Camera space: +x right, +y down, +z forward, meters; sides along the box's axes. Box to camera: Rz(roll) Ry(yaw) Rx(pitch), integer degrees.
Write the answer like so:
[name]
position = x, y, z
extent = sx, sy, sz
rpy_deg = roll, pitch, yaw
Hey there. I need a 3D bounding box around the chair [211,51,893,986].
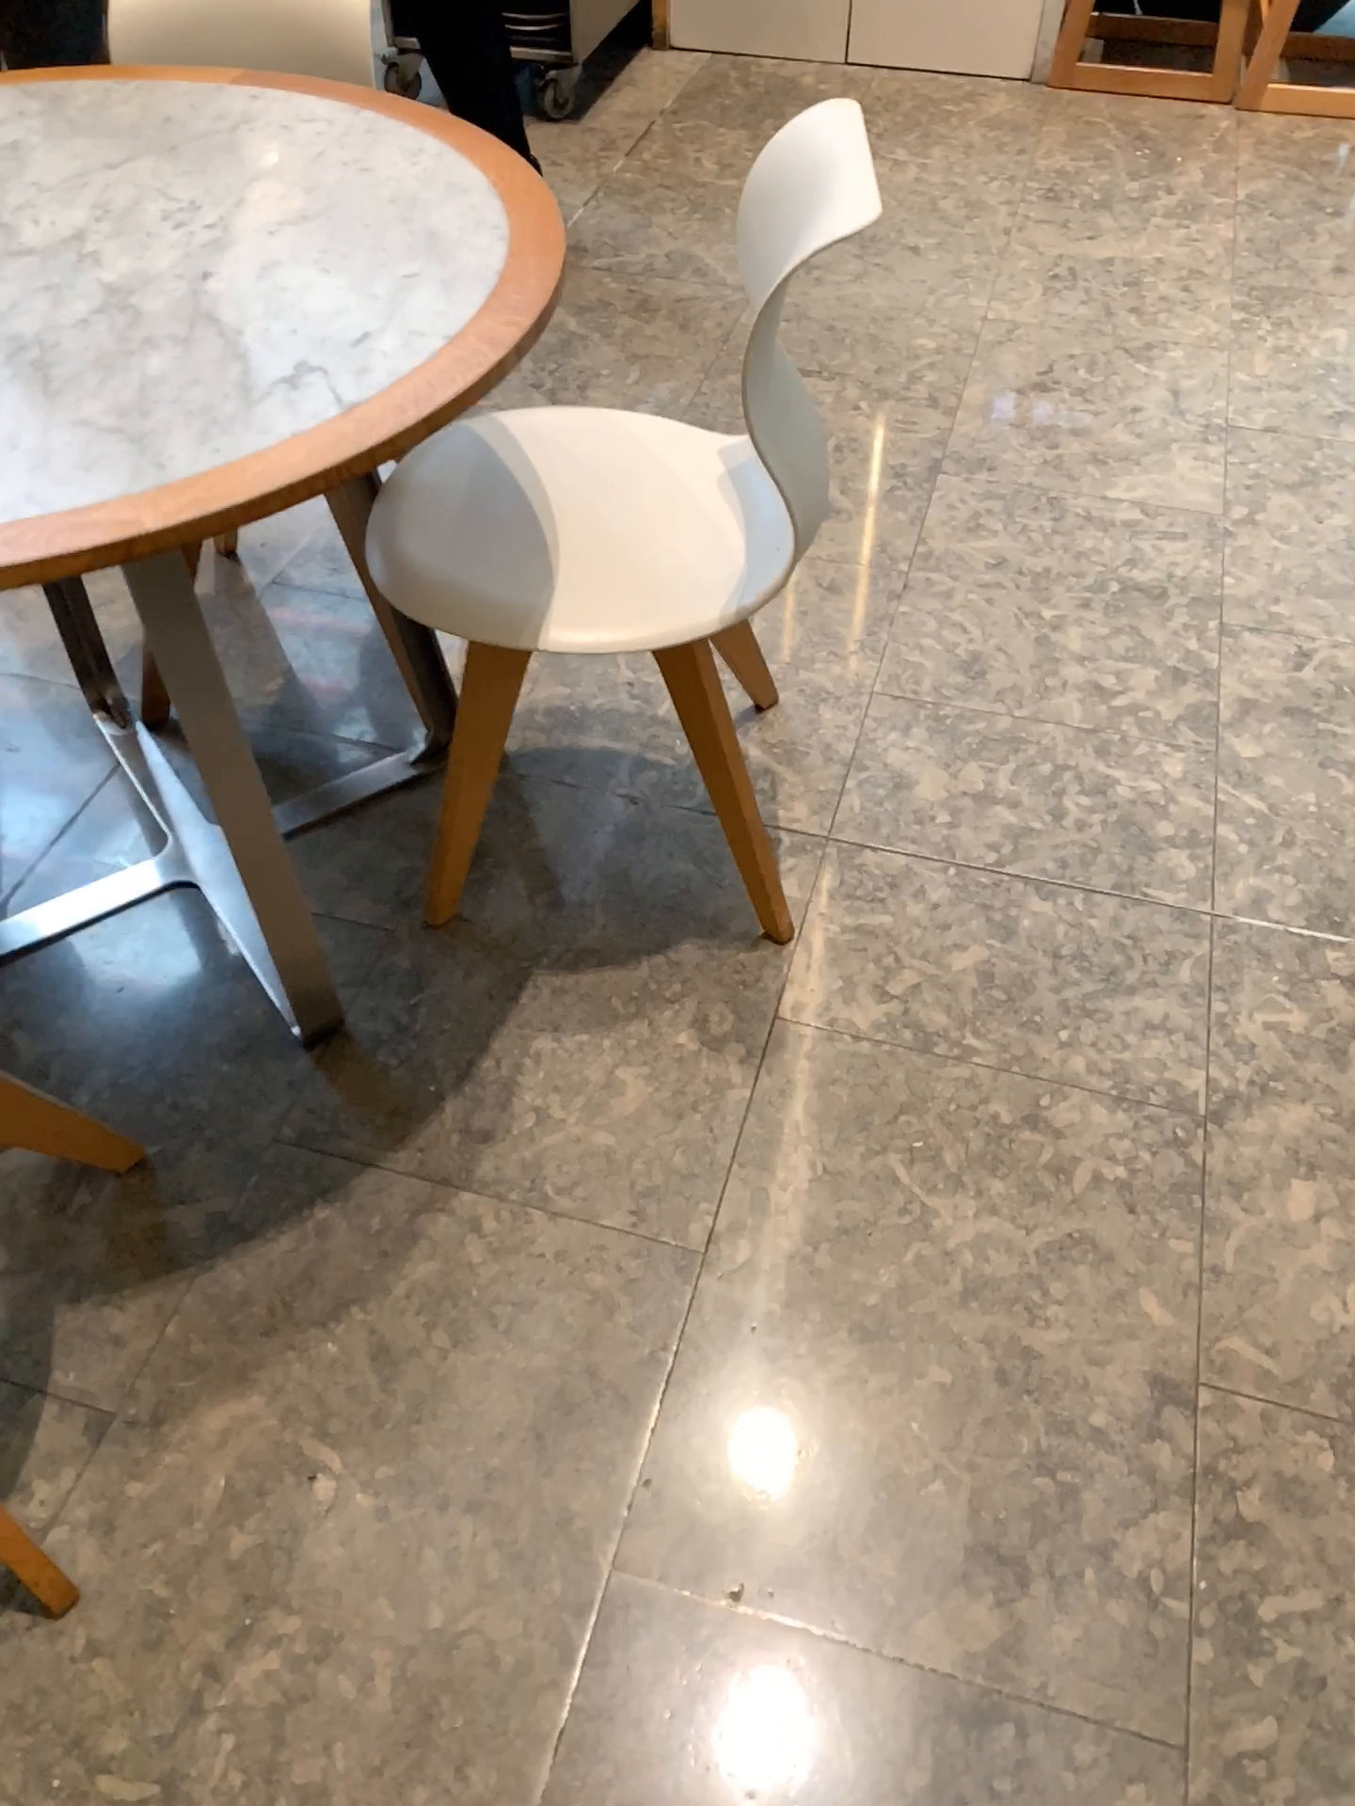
[chair]
position = -0.094, -0.392, 1.586
extent = 0.540, 0.911, 0.505
rpy_deg = 1, 48, 1
